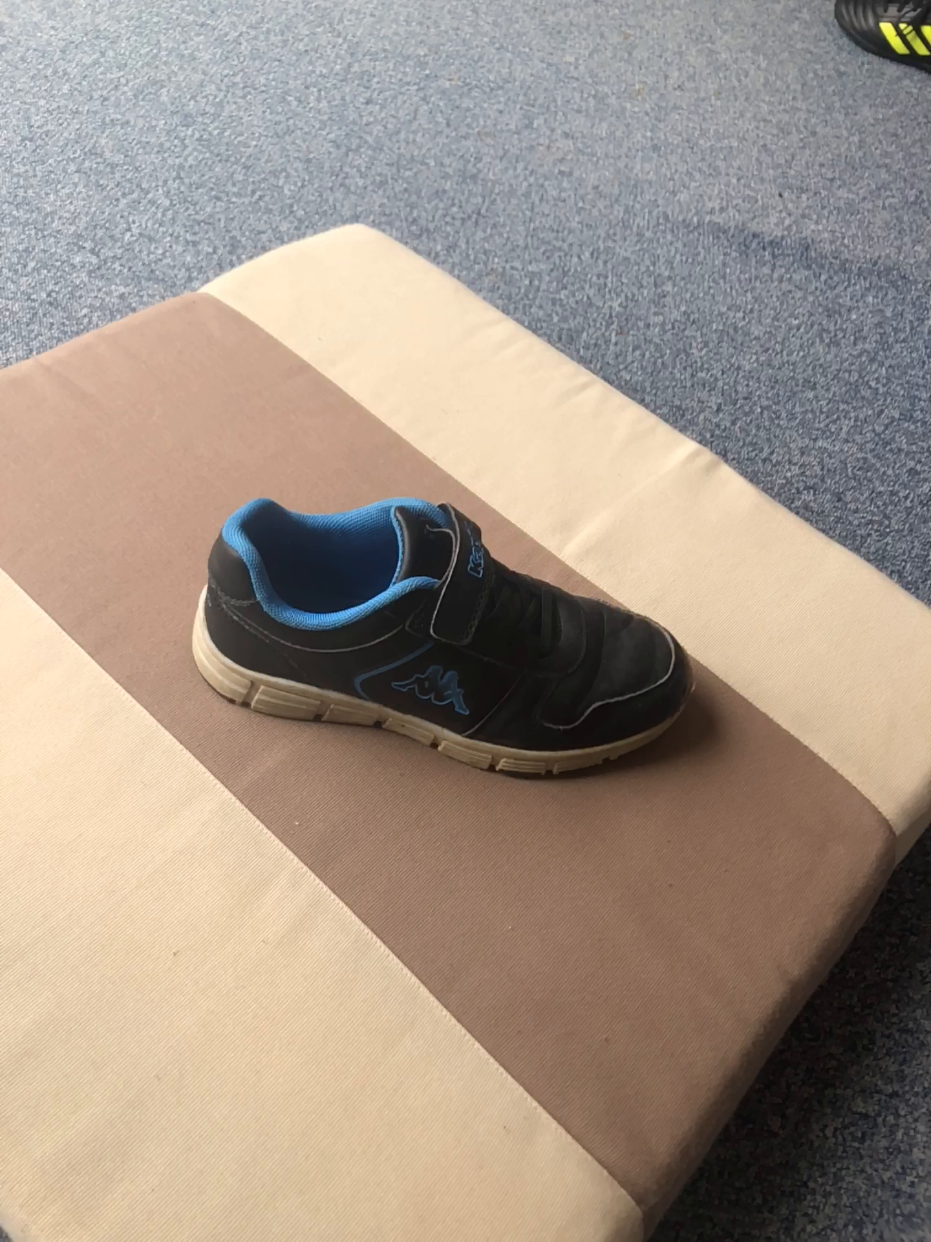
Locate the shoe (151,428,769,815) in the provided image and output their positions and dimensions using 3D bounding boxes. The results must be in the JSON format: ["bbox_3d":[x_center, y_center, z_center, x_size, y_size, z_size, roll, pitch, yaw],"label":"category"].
[{"bbox_3d":[-0.002,0.003,0.457,0.240,0.089,0.101,10,51,-5],"label":"shoe"}]
